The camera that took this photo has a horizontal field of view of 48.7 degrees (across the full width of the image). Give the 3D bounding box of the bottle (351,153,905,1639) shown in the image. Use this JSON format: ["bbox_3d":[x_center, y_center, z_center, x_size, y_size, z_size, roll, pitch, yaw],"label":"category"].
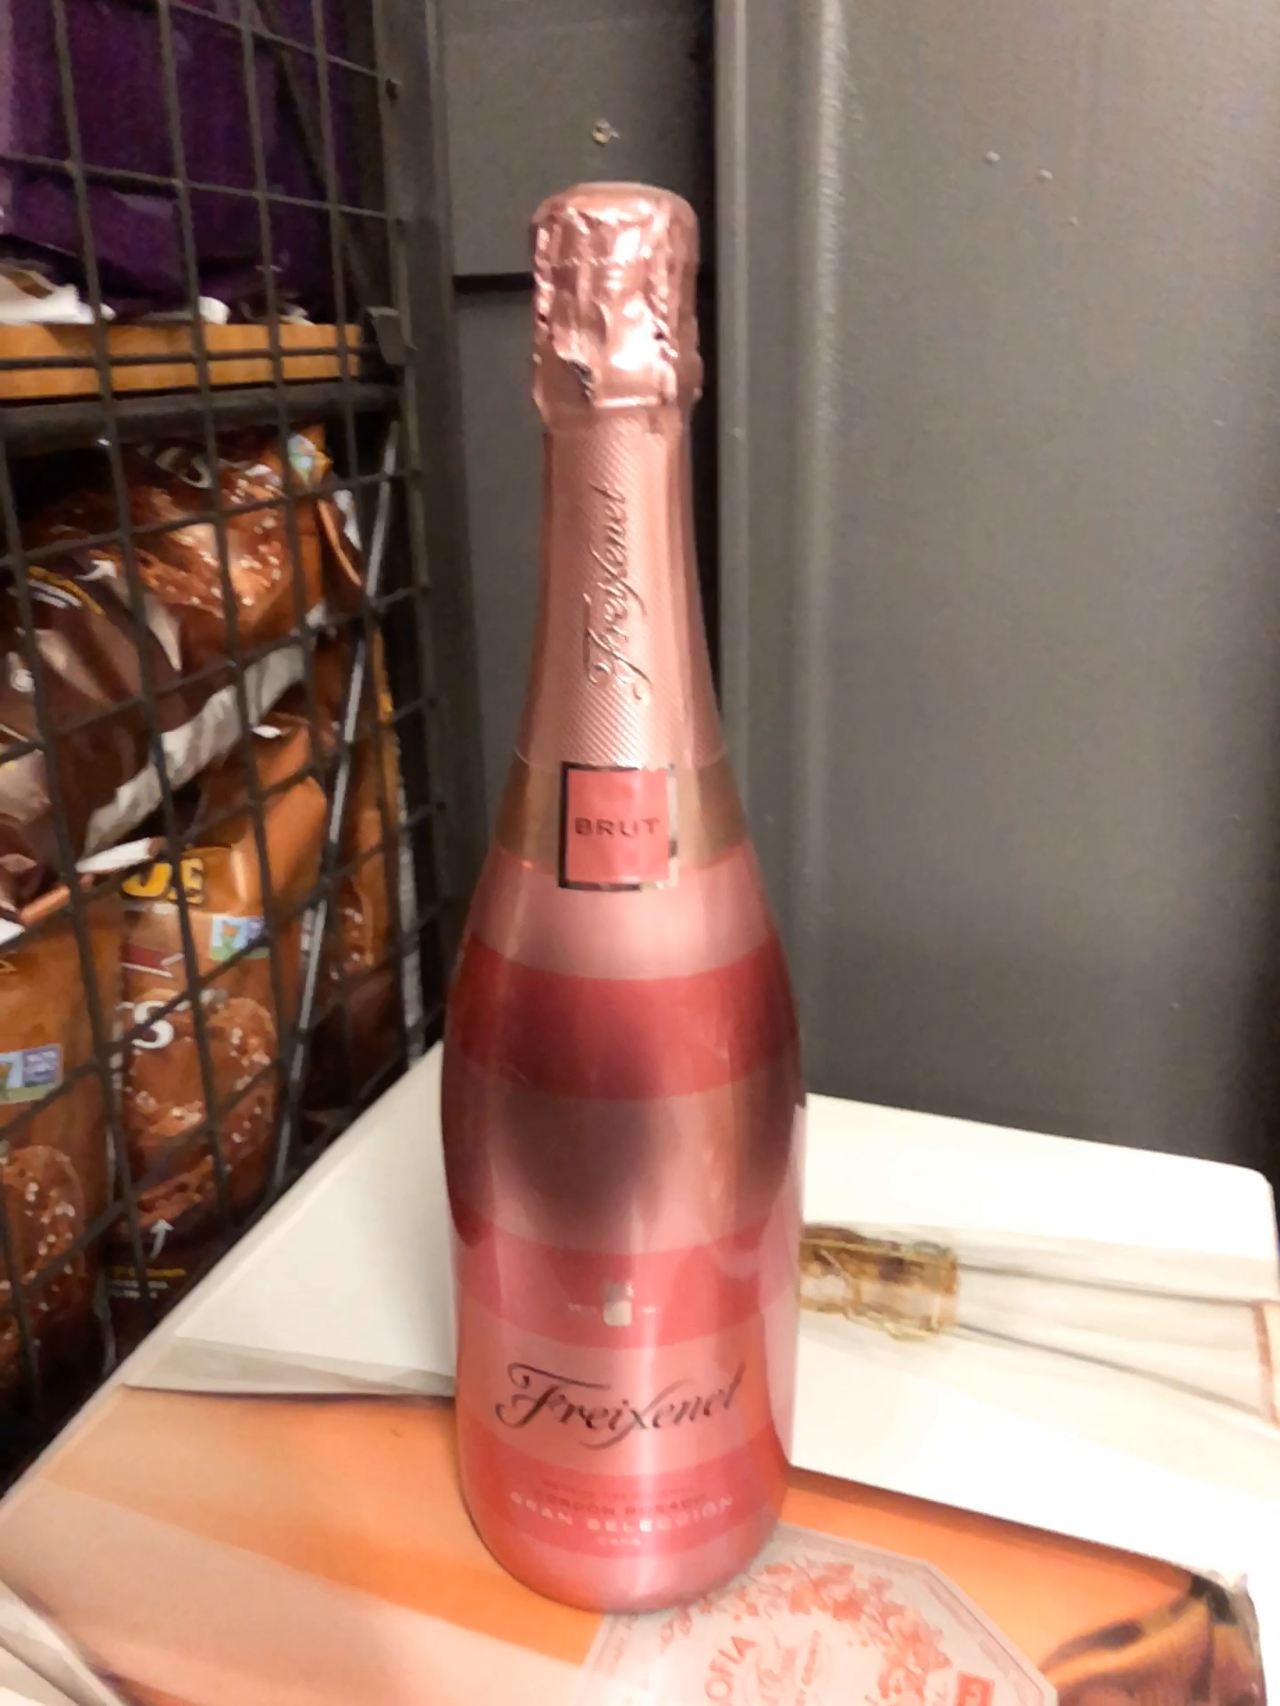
[{"bbox_3d":[0.000,0.019,0.322,0.090,0.309,0.090,-2,19,1],"label":"bottle"}]
